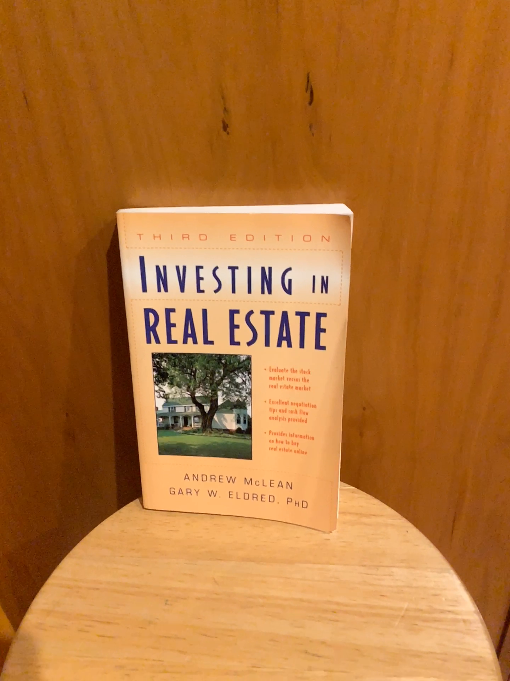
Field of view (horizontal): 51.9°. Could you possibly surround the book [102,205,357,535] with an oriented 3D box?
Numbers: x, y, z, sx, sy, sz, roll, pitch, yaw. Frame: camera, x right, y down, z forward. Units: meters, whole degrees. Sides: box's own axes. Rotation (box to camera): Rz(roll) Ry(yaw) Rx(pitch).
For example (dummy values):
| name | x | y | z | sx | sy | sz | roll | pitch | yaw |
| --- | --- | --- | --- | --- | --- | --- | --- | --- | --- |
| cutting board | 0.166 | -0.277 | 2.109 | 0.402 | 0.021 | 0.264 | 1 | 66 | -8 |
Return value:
| name | x | y | z | sx | sy | sz | roll | pitch | yaw |
| --- | --- | --- | --- | --- | --- | --- | --- | --- | --- |
| book | -0.014 | 0.022 | 0.381 | 0.160 | 0.229 | 0.050 | 2 | 17 | 7 |
